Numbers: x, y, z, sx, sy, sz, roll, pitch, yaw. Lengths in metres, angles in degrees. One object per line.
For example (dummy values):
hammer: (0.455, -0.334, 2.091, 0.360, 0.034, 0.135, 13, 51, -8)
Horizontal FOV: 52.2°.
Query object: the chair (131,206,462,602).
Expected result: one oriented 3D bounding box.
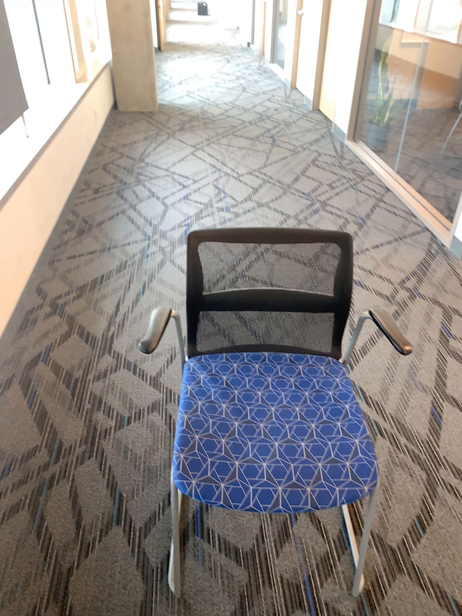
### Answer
chair: (0.106, 0.226, 1.167, 0.530, 0.763, 0.585, 0, 35, -1)
